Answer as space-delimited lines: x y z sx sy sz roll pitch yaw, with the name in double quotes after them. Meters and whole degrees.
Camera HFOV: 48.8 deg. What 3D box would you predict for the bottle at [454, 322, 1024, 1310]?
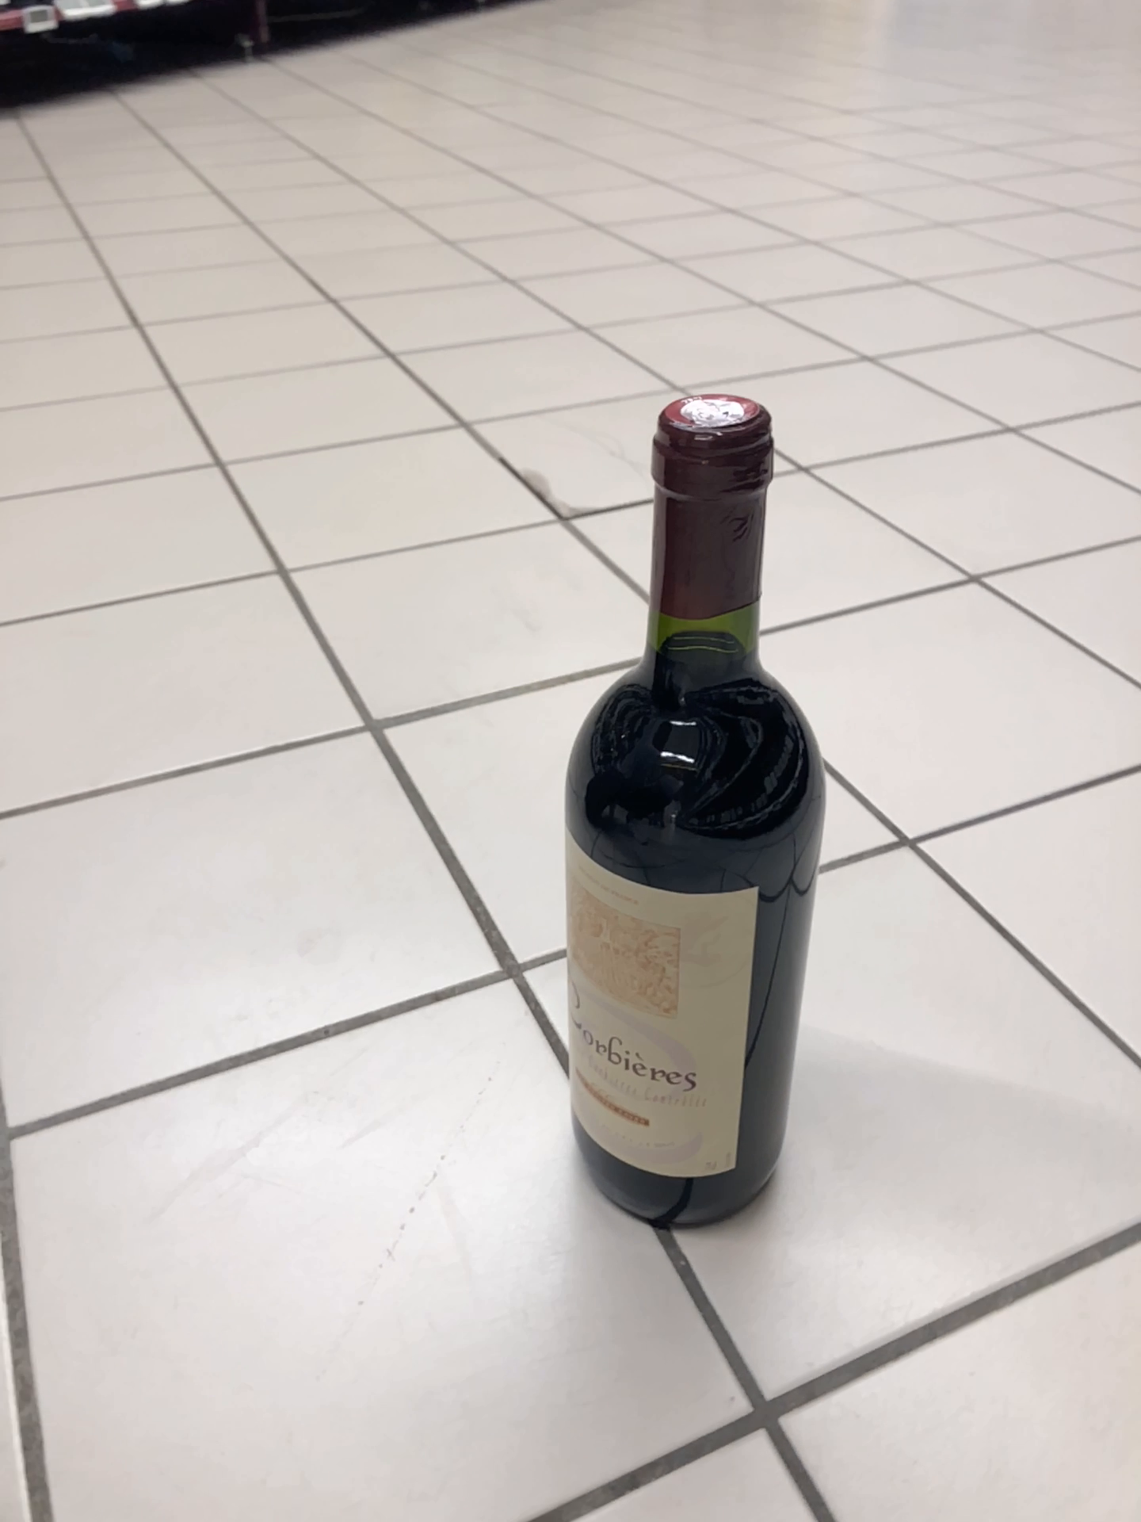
0.039 0.023 0.351 0.090 0.248 0.090 0 35 0 "bottle"
